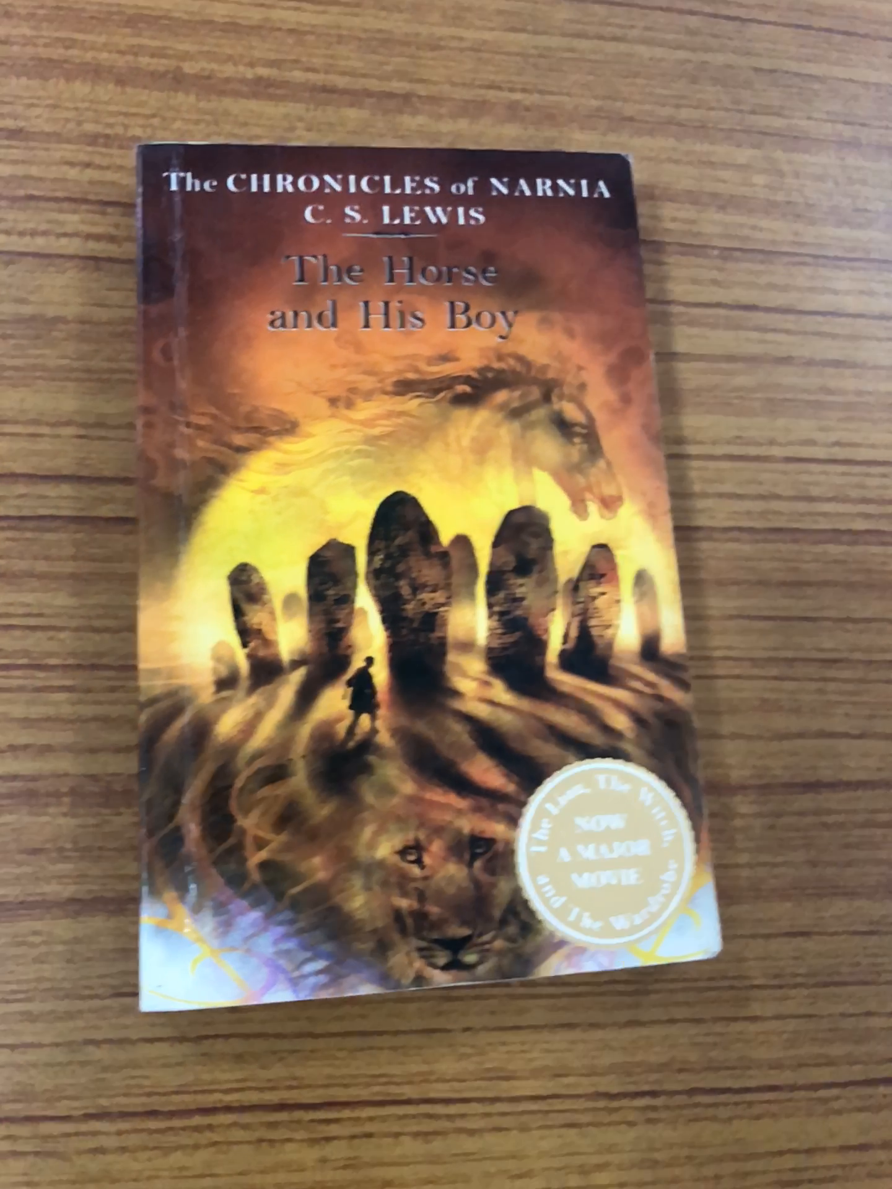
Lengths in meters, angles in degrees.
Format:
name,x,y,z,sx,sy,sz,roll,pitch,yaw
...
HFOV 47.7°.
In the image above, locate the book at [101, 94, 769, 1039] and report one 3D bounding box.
name,x,y,z,sx,sy,sz,roll,pitch,yaw
book,-0.006,-0.013,0.206,0.120,0.020,0.180,-2,79,-9
